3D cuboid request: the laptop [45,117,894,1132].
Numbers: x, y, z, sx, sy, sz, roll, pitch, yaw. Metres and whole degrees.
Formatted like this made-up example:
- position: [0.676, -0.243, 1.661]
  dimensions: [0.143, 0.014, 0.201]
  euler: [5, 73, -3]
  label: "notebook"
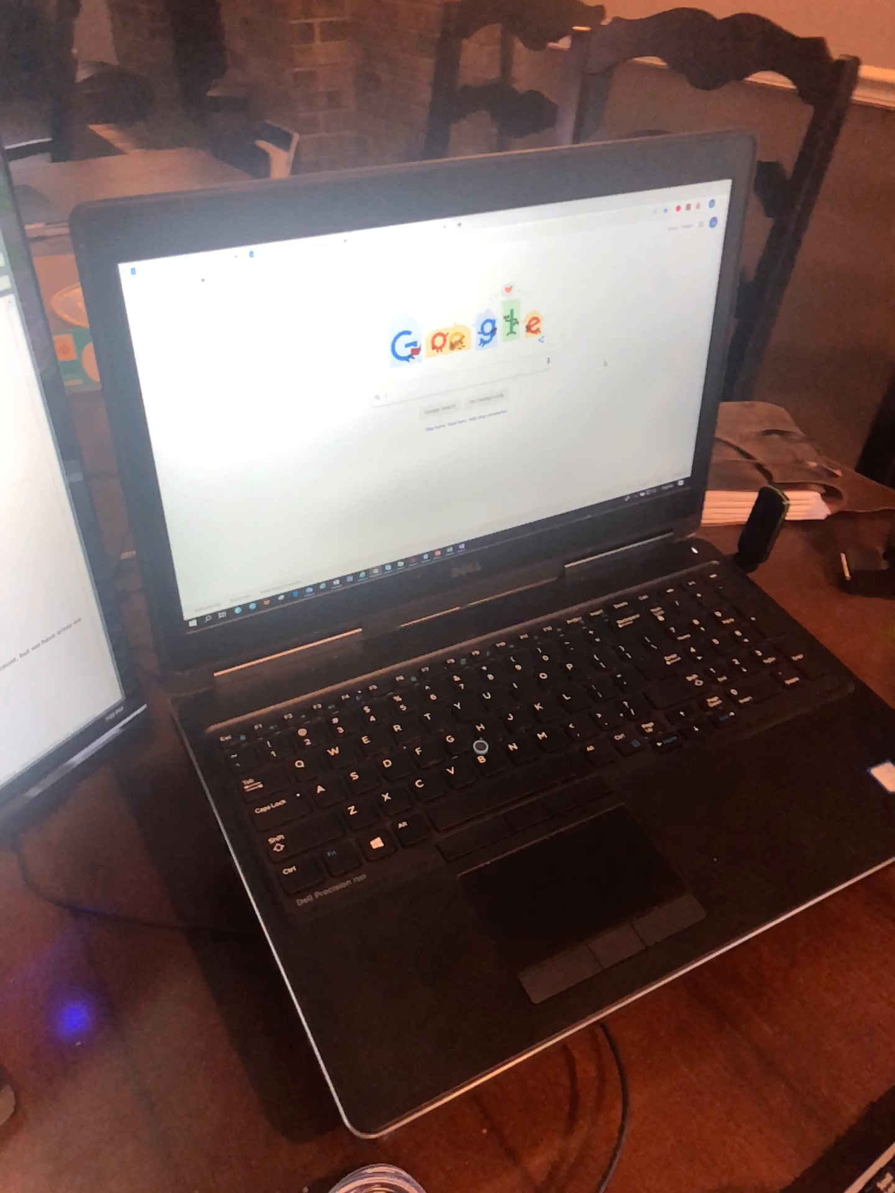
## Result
- position: [0.059, -0.035, 0.472]
  dimensions: [0.367, 0.258, 0.287]
  euler: [-17, 42, -24]
  label: "laptop"
